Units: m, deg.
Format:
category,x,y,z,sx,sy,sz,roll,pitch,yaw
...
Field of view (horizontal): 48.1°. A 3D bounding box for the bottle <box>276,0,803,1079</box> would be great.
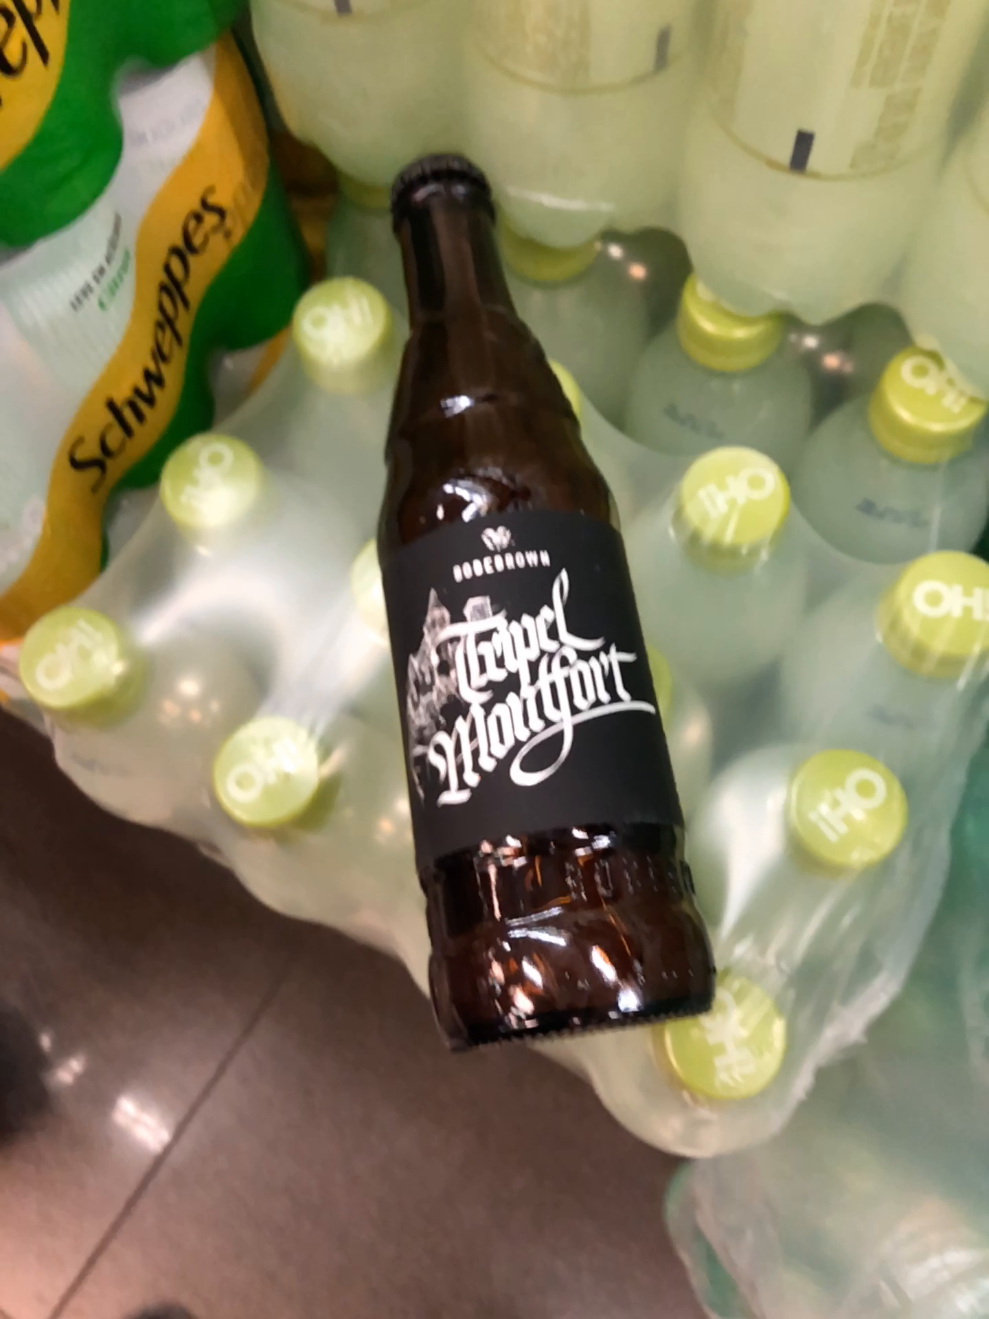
category,x,y,z,sx,sy,sz,roll,pitch,yaw
bottle,0.001,-0.042,0.256,0.070,0.070,0.251,-8,71,1
